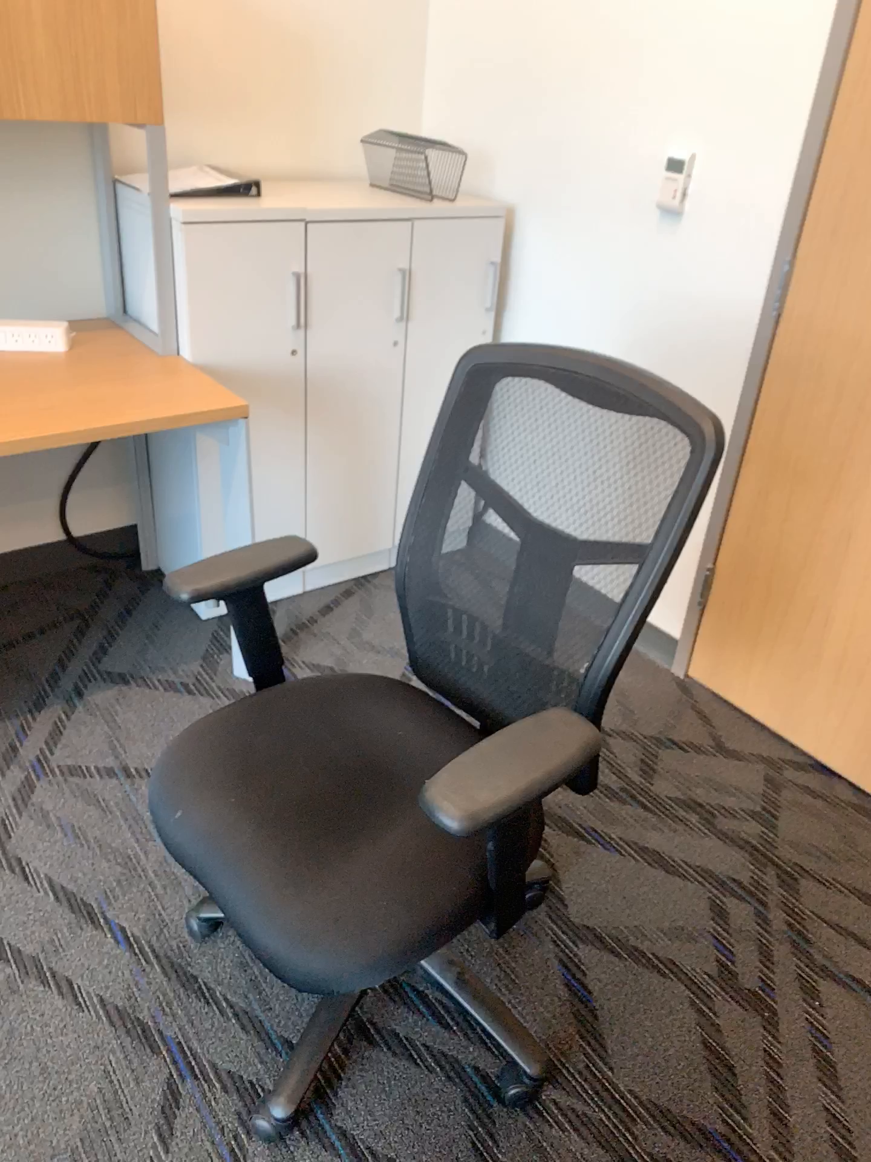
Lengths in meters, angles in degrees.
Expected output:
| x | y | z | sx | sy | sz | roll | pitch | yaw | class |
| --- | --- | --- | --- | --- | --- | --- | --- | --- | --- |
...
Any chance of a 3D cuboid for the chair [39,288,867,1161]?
| x | y | z | sx | sy | sz | roll | pitch | yaw | class |
| --- | --- | --- | --- | --- | --- | --- | --- | --- | --- |
| -0.029 | 0.181 | 1.284 | 0.722 | 0.992 | 0.663 | -16 | 35 | -34 | chair |
